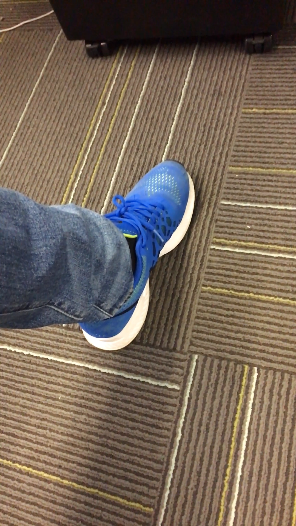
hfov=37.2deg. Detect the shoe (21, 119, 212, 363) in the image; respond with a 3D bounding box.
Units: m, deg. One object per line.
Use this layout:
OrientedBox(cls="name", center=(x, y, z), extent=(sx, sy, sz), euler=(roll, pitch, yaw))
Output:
OrientedBox(cls="shoe", center=(-0.025, -0.037, 0.584), extent=(0.120, 0.110, 0.290), euler=(15, 67, 21))
